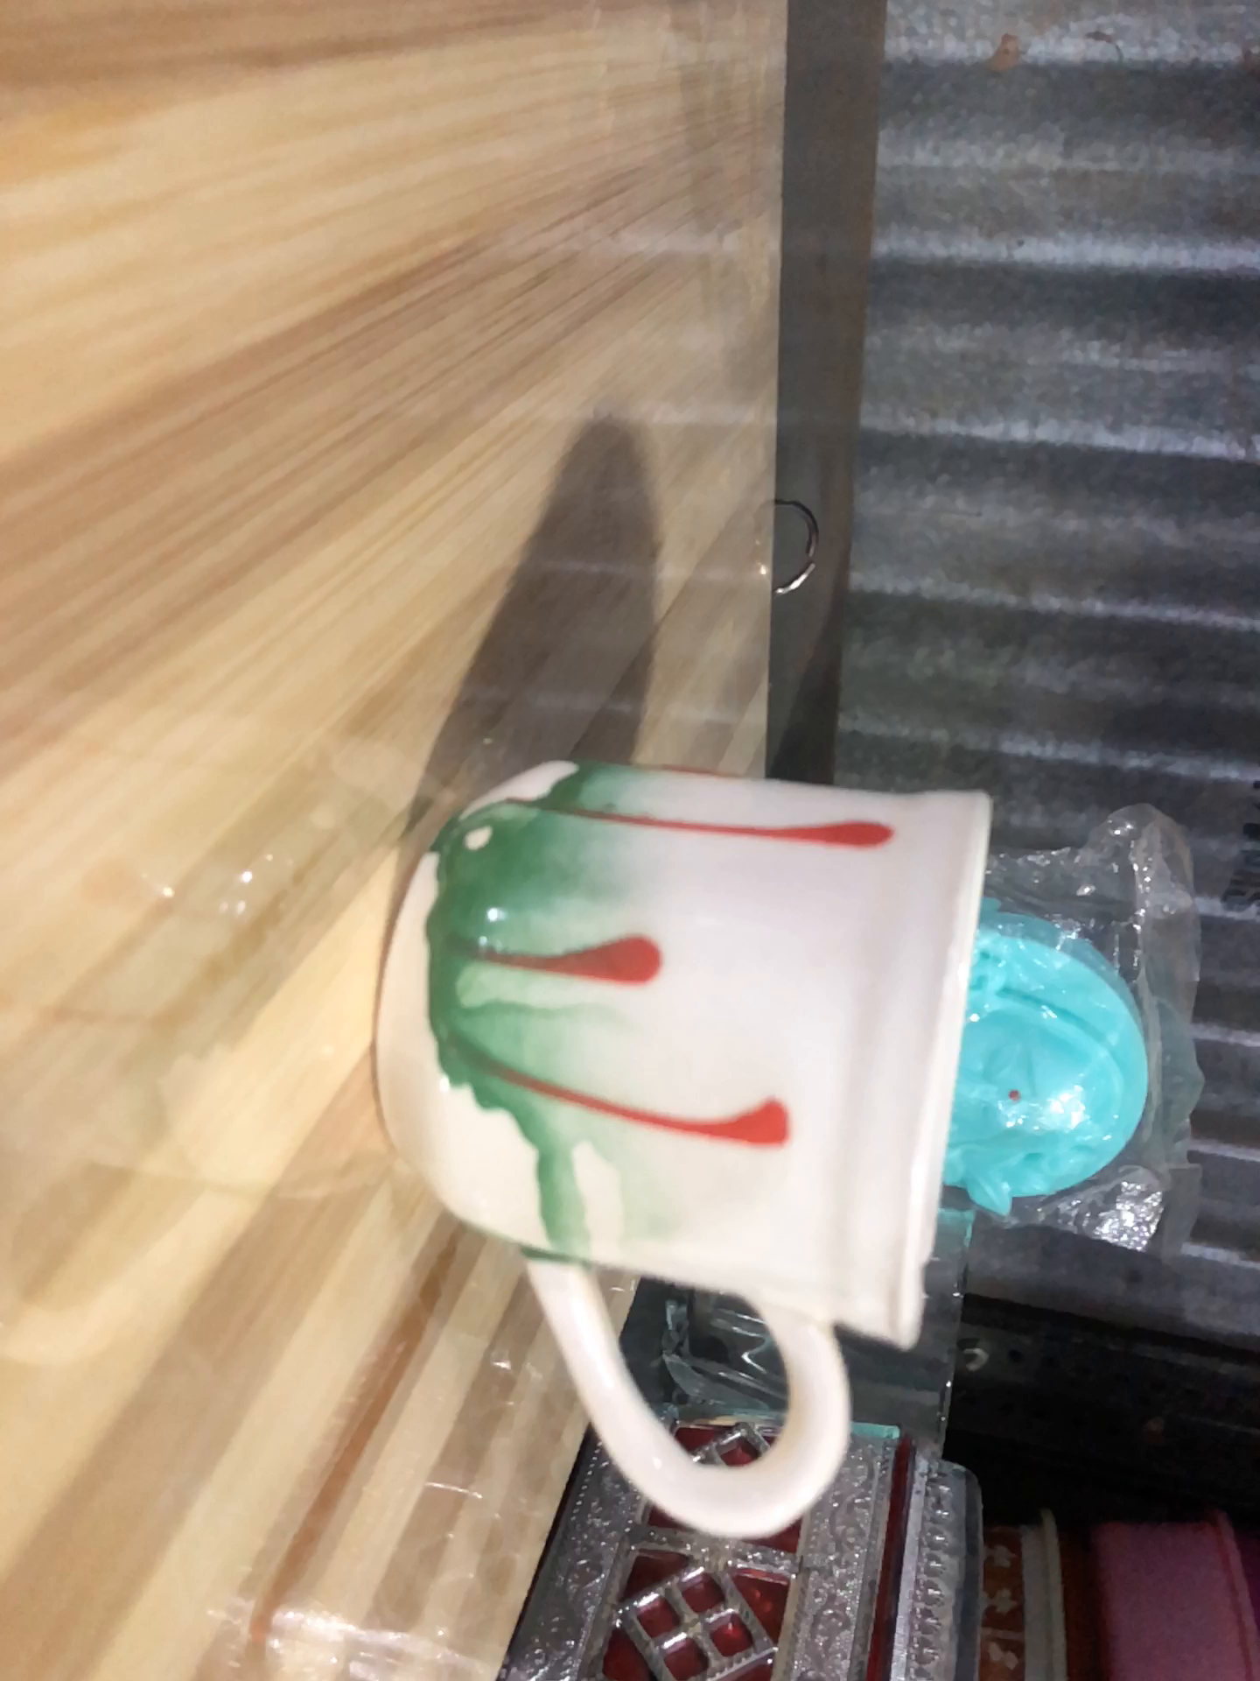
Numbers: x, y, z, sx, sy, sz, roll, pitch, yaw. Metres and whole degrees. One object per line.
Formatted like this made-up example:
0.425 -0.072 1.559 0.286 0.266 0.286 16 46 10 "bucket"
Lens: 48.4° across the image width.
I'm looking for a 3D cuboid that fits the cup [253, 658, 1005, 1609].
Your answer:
0.008 0.032 0.189 0.080 0.070 0.090 27 71 -76 "cup"
